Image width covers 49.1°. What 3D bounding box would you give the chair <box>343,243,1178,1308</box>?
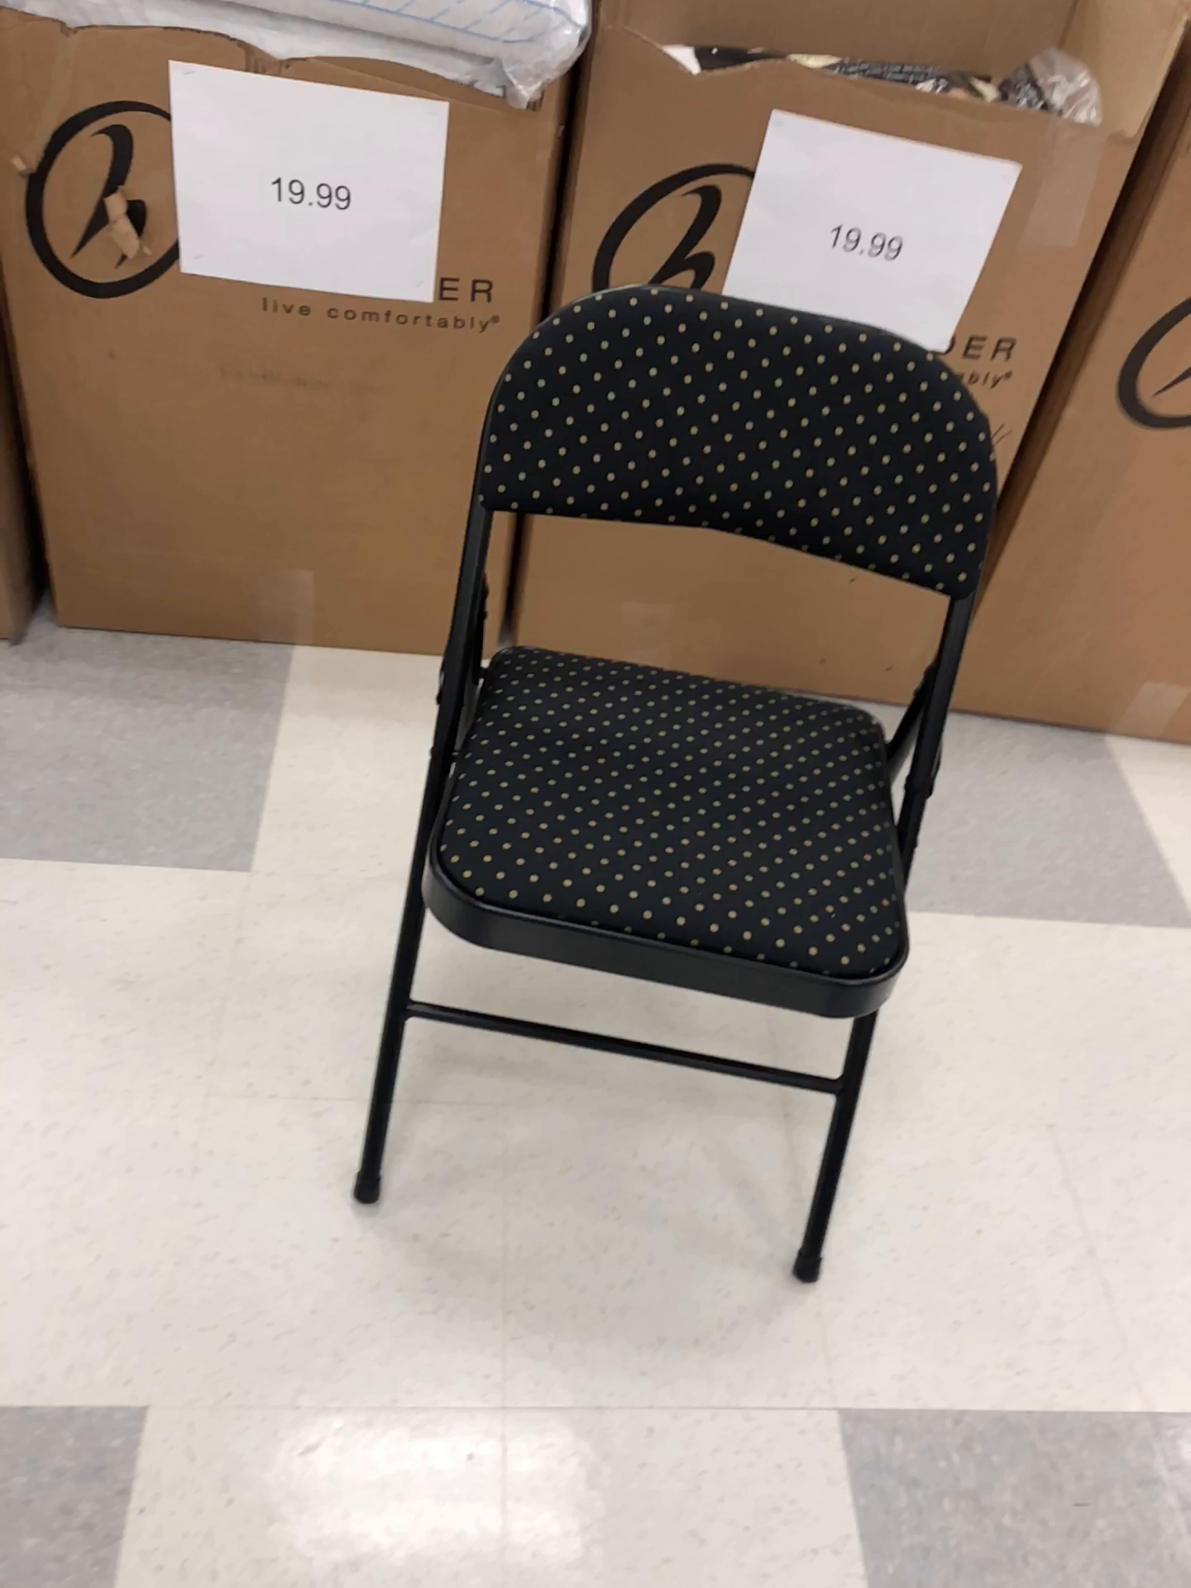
[{"bbox_3d":[0.076,0.006,1.191,0.484,0.729,0.542,10,43,-1],"label":"chair"}]
